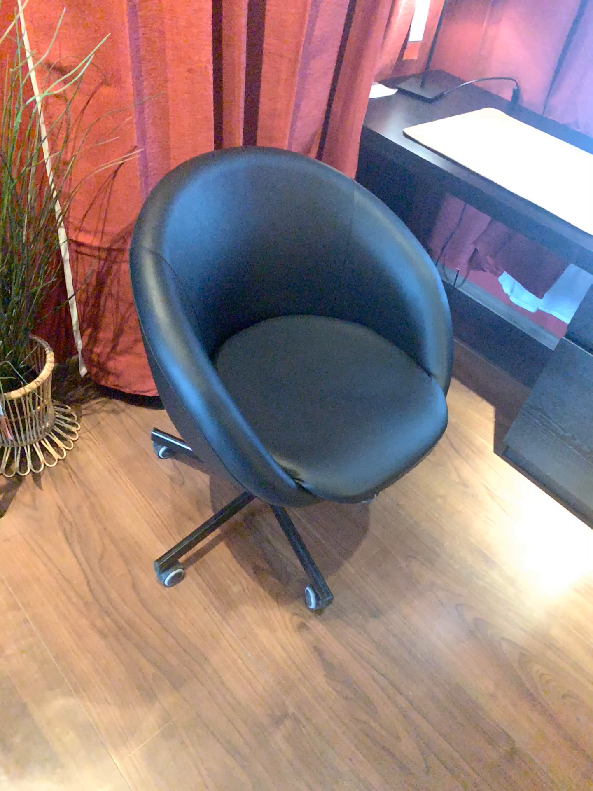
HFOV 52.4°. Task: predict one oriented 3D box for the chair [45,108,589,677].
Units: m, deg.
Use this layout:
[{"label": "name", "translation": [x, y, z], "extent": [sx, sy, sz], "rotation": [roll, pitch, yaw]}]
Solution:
[{"label": "chair", "translation": [0.016, -0.029, 1.158], "extent": [0.581, 0.697, 0.622], "rotation": [35, 49, 21]}]
